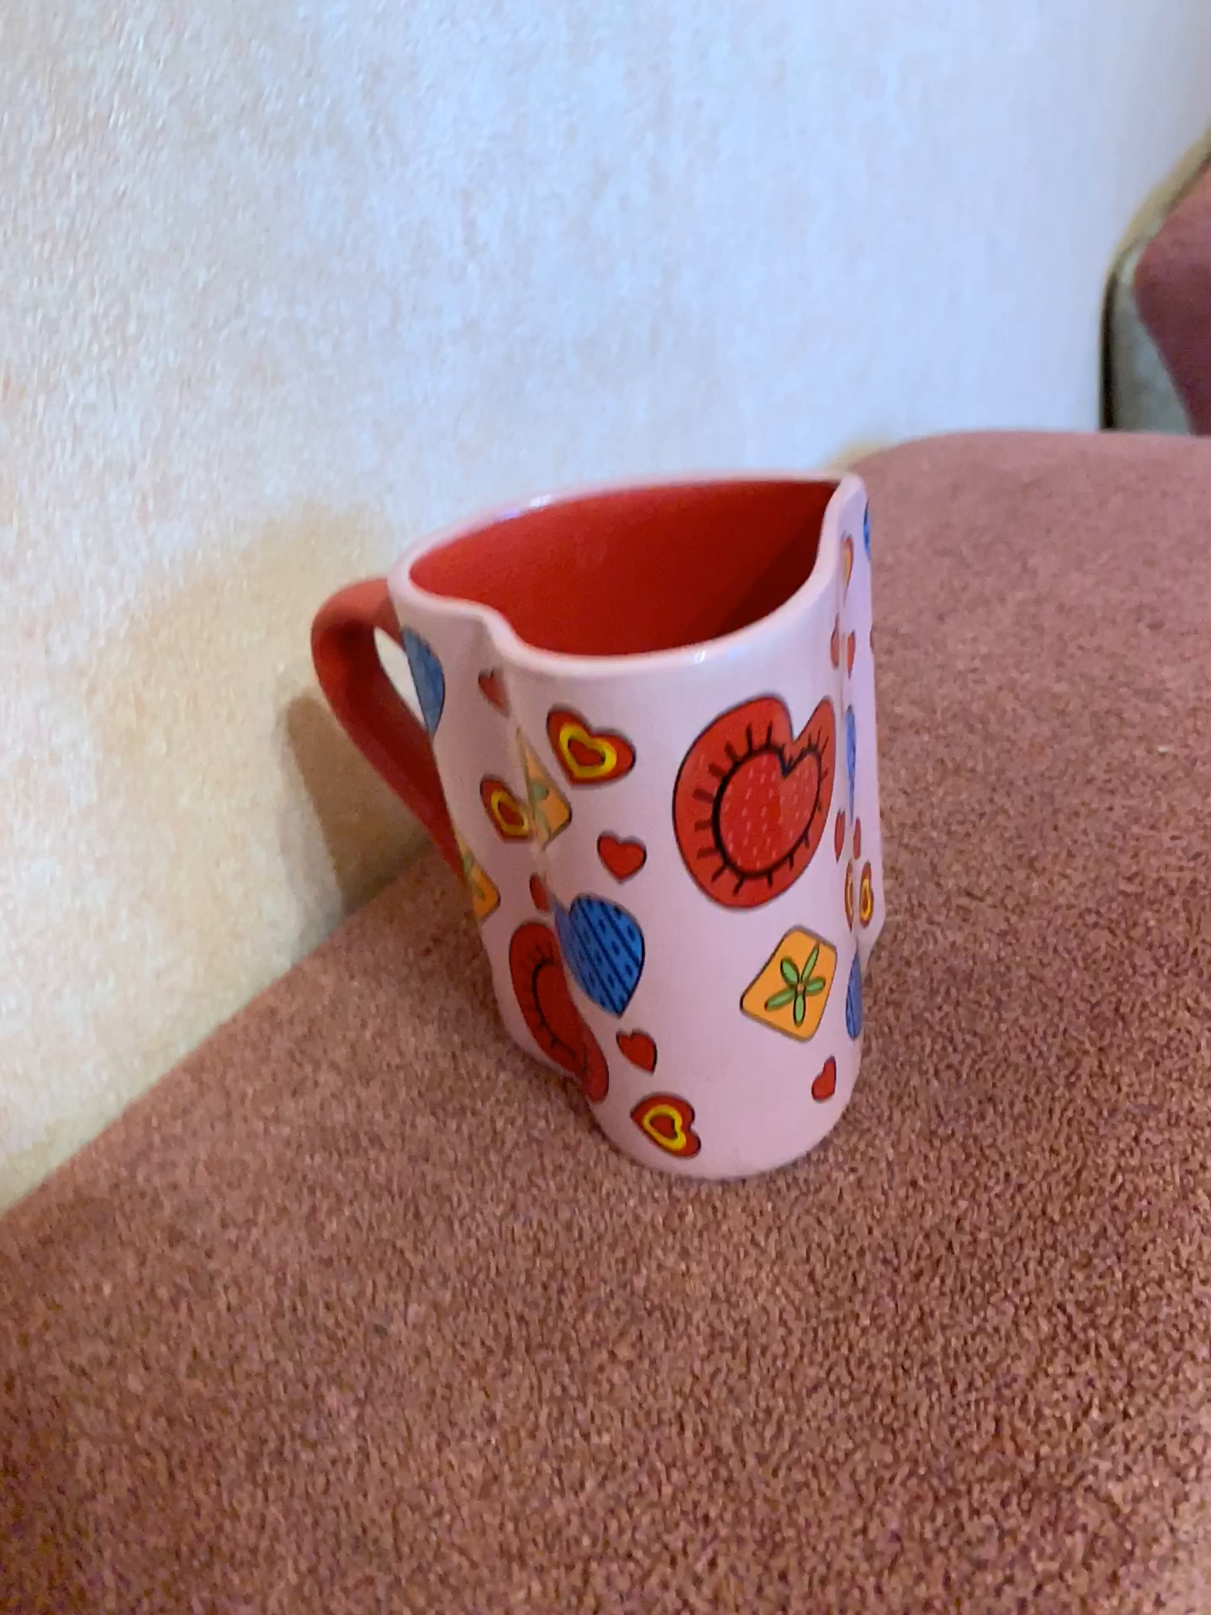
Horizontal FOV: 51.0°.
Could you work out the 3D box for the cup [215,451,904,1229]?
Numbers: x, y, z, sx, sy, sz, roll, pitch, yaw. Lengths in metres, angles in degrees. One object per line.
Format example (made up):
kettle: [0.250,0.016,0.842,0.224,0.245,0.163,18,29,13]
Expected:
cup: [0.005,0.002,0.210,0.082,0.091,0.085,-8,30,4]
